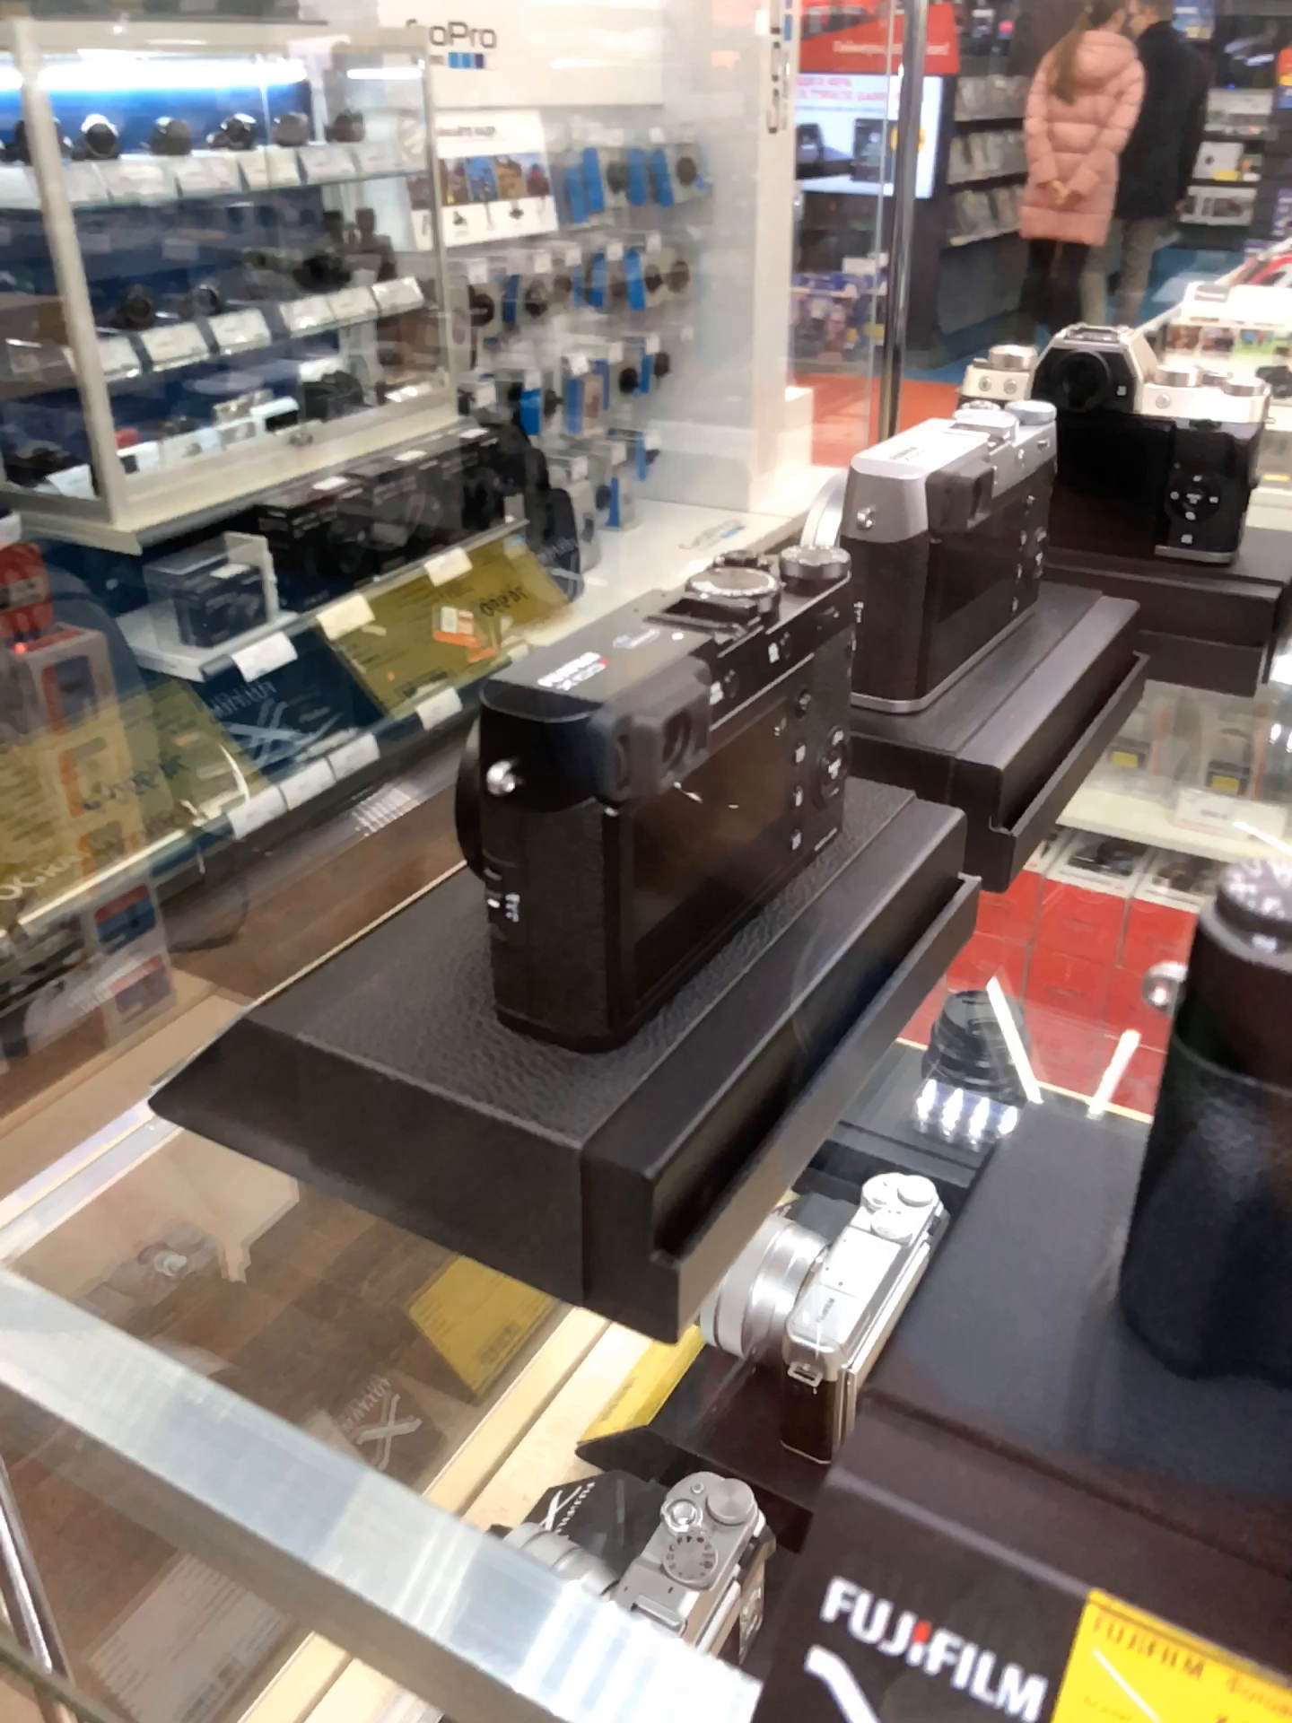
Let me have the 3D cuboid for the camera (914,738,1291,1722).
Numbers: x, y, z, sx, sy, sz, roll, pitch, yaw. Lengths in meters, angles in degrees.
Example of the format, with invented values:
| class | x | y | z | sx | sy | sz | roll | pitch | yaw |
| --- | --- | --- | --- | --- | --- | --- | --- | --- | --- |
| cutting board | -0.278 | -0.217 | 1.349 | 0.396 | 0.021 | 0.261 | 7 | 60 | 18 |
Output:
| class | x | y | z | sx | sy | sz | roll | pitch | yaw |
| --- | --- | --- | --- | --- | --- | --- | --- | --- | --- |
| camera | 0.116 | 0.054 | 0.167 | 0.131 | 0.080 | 0.104 | 16 | 32 | 26 |

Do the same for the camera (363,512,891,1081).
| class | x | y | z | sx | sy | sz | roll | pitch | yaw |
| --- | --- | --- | --- | --- | --- | --- | --- | --- | --- |
| camera | 0.003 | -0.024 | 0.323 | 0.054 | 0.075 | 0.131 | 15 | 32 | 26 |

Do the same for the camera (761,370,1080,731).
| class | x | y | z | sx | sy | sz | roll | pitch | yaw |
| --- | --- | --- | --- | --- | --- | --- | --- | --- | --- |
| camera | 0.093 | -0.108 | 0.469 | 0.054 | 0.080 | 0.131 | 15 | 32 | 26 |
